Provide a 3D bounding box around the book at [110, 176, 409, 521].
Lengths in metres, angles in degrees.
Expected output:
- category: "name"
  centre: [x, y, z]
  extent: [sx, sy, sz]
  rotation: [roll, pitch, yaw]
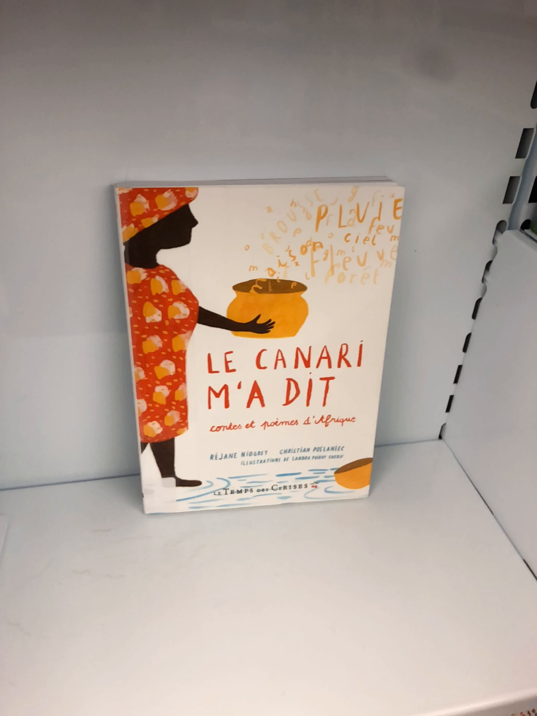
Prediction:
- category: "book"
  centre: [-0.008, -0.001, 0.352]
  extent: [0.149, 0.199, 0.037]
  rotation: [-3, 26, -10]
